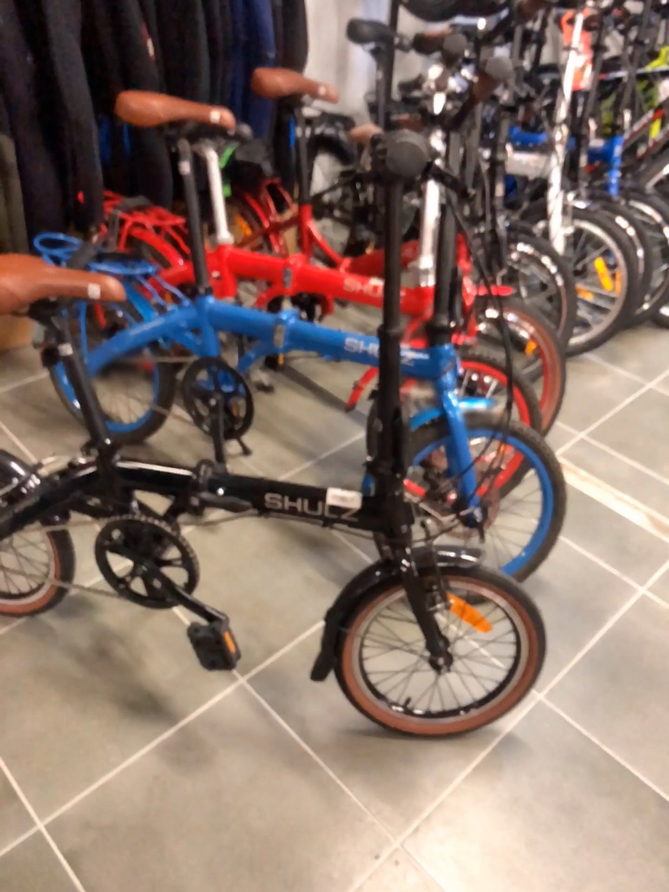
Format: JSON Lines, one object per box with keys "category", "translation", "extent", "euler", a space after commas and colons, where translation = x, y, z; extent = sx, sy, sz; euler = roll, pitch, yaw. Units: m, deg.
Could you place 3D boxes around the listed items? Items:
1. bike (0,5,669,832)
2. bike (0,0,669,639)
{"category": "bike", "translation": [-0.231, -0.051, 1.245], "extent": [1.273, 1.057, 0.568], "euler": [10, 37, 9]}
{"category": "bike", "translation": [-0.069, -0.357, 1.723], "extent": [1.373, 1.028, 0.570], "euler": [19, 39, 16]}
